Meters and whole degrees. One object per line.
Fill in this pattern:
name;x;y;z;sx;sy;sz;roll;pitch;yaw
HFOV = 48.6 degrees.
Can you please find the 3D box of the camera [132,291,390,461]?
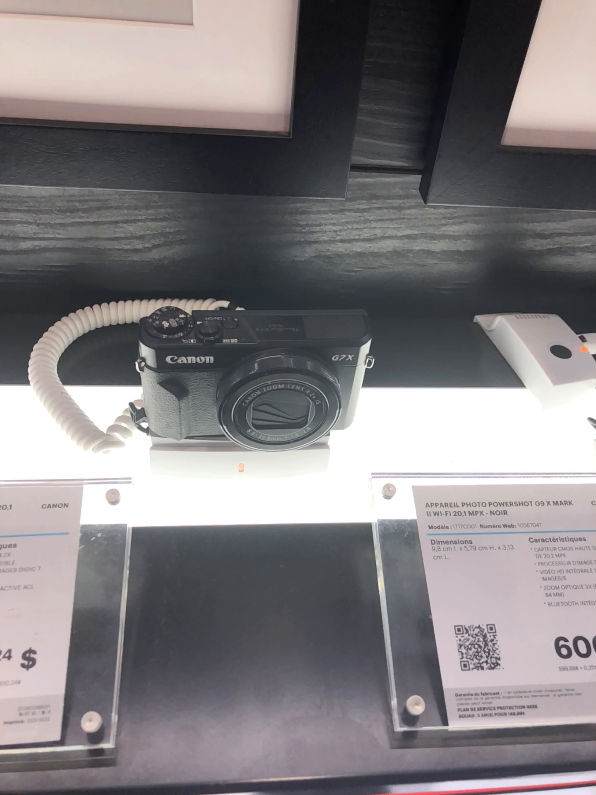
camera;-0.019;-0.009;0.319;0.110;0.079;0.030;-1;43;-8
